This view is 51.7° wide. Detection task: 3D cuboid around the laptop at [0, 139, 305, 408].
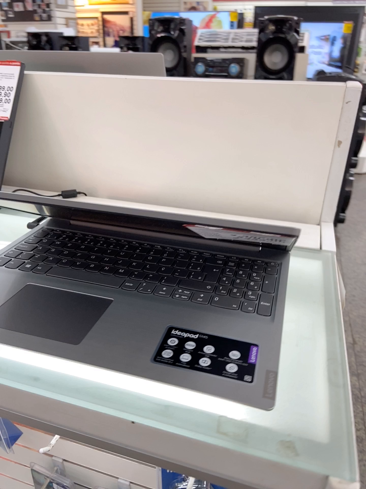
[{"bbox_3d":[-0.068,-0.013,0.395,0.354,0.122,0.240,8,28,16],"label":"laptop"}]
